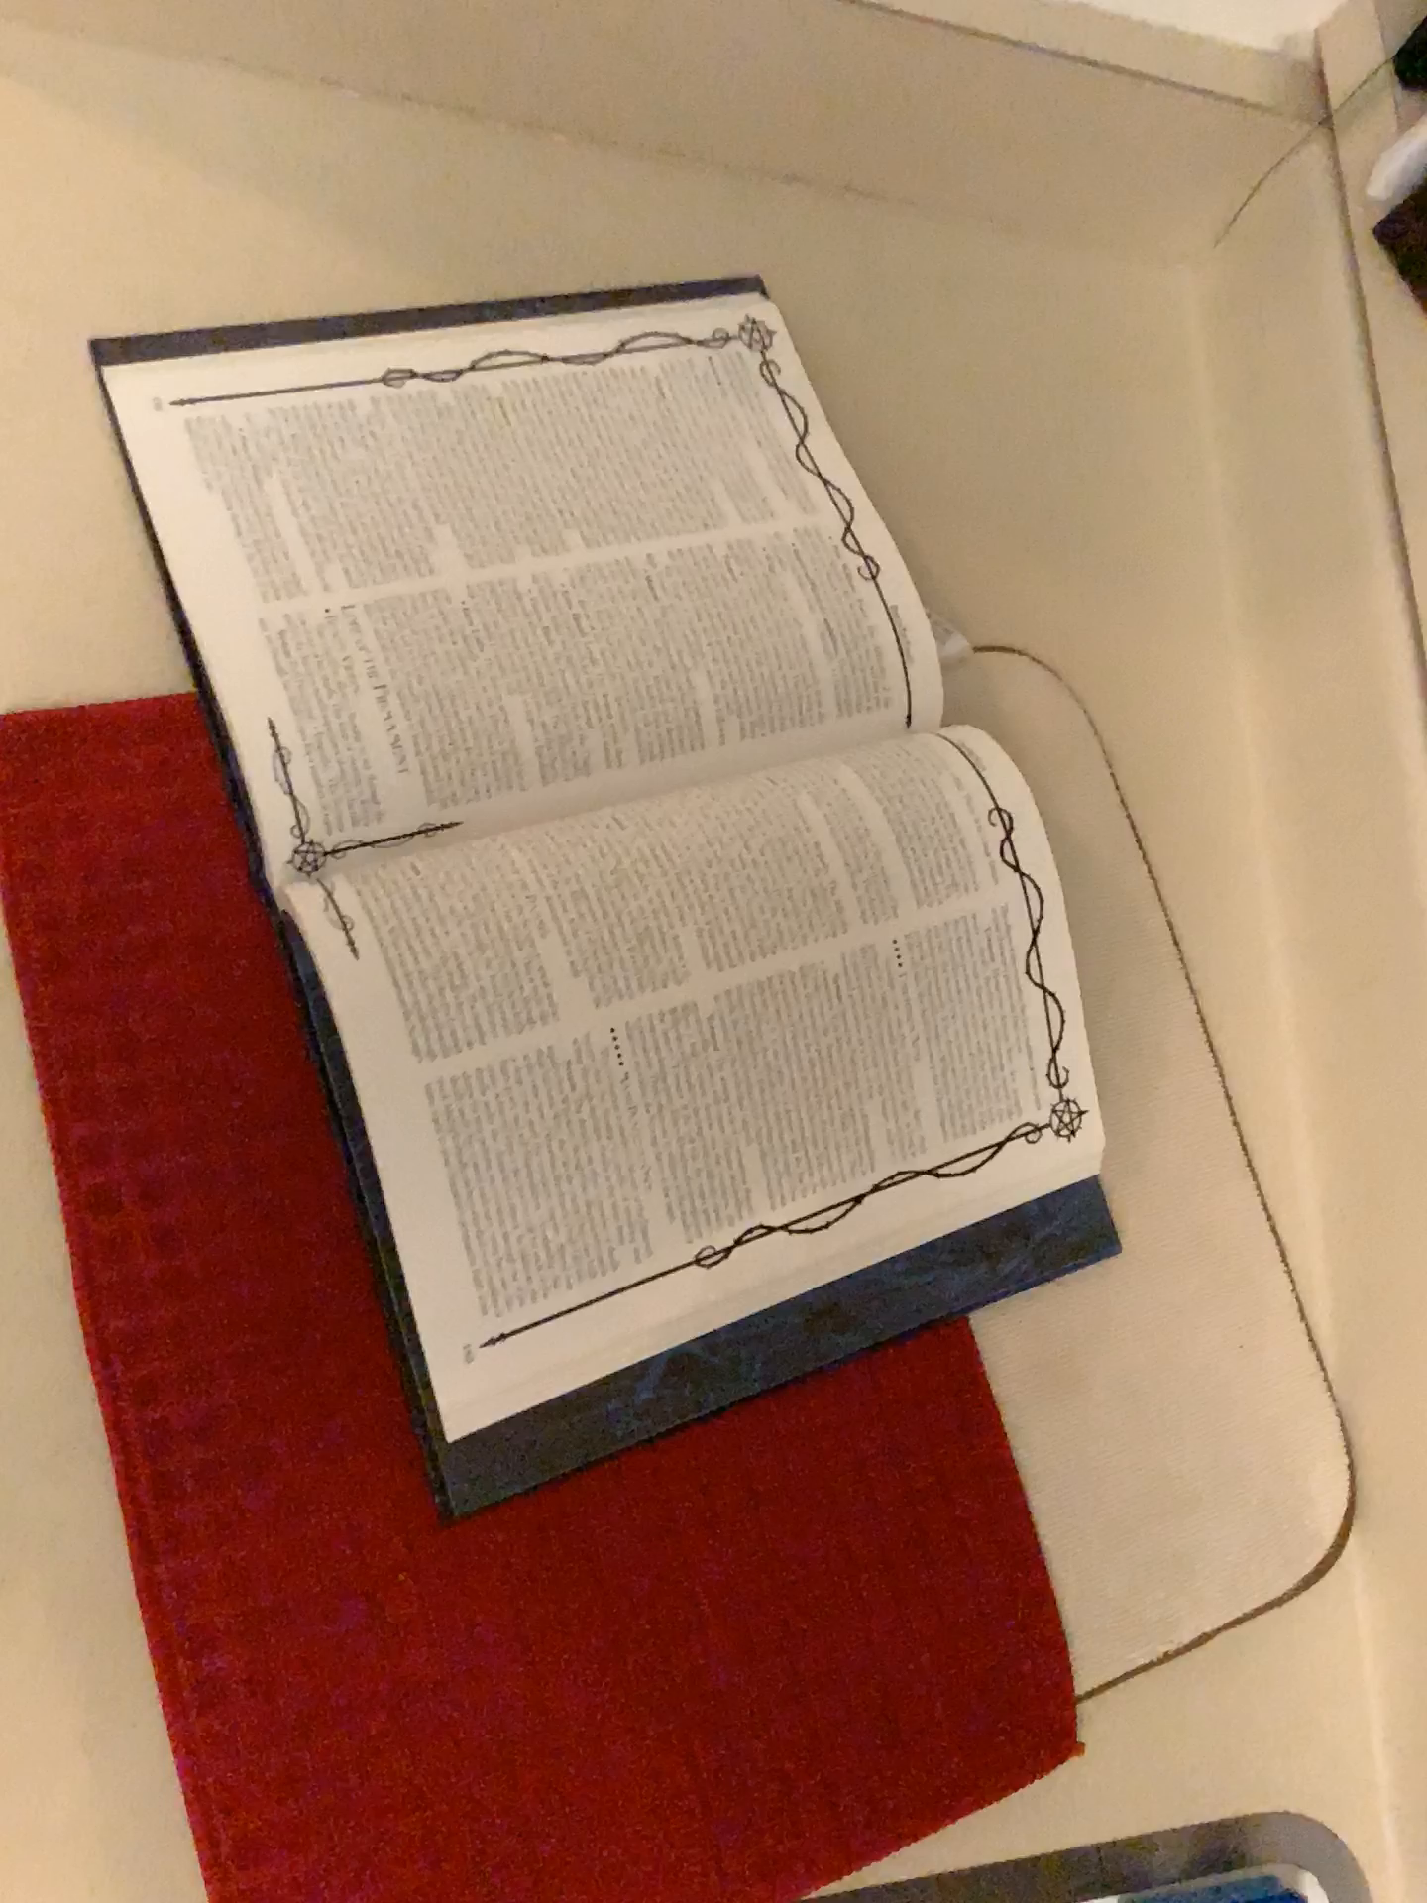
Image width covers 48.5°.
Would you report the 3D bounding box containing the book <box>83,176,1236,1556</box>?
[{"bbox_3d":[-0.017,-0.058,0.594,0.290,0.060,0.450,-18,84,-23],"label":"book"}]
